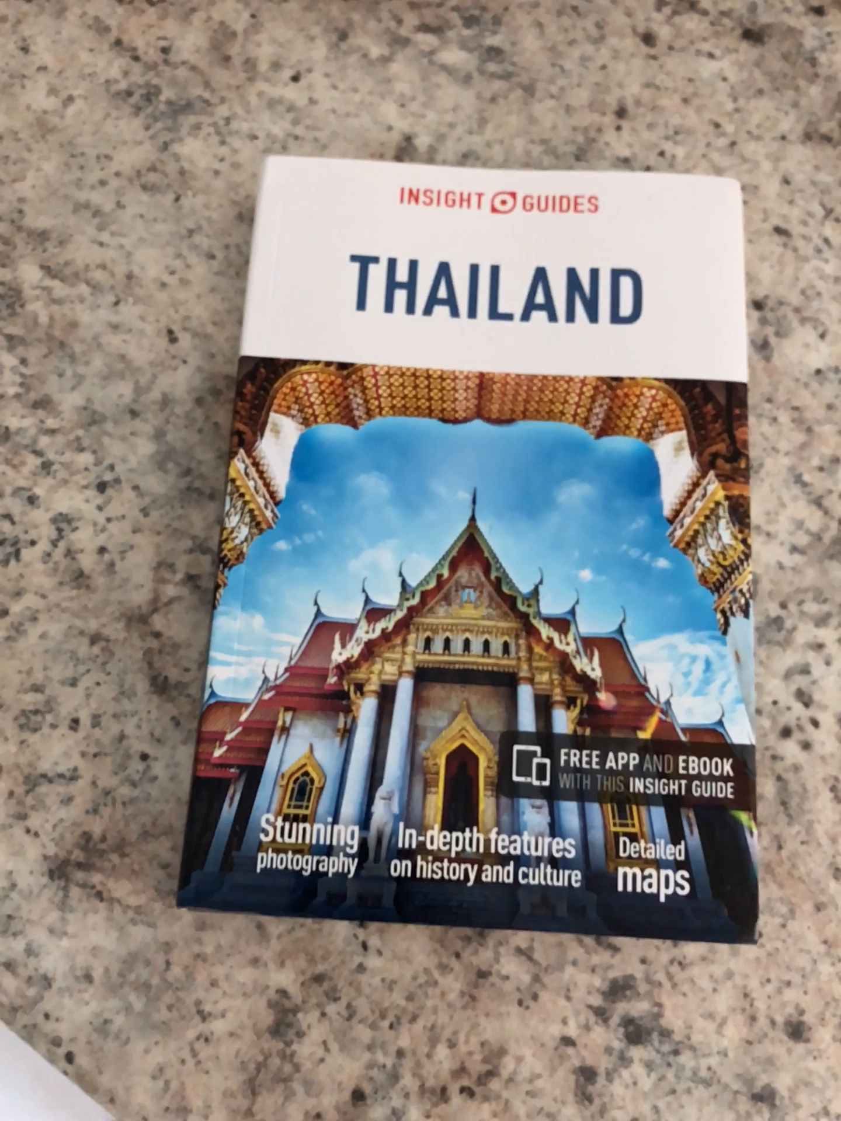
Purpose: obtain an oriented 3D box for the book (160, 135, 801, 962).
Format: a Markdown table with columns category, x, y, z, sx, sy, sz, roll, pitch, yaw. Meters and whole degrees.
| category | x | y | z | sx | sy | sz | roll | pitch | yaw |
| --- | --- | --- | --- | --- | --- | --- | --- | --- | --- |
| book | 0.024 | -0.015 | 0.289 | 0.164 | 0.030 | 0.240 | 4 | 74 | 1 |
